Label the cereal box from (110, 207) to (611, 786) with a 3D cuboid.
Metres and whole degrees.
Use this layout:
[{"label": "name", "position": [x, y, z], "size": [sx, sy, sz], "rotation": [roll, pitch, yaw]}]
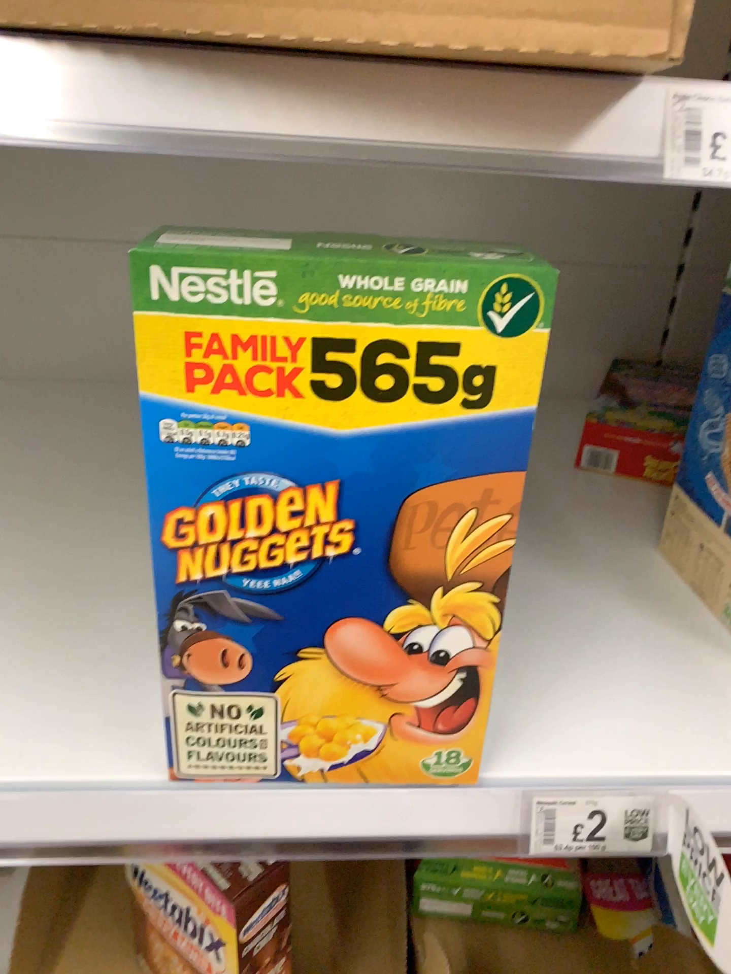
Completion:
[{"label": "cereal box", "position": [-0.011, 0.018, 0.421], "size": [0.210, 0.308, 0.091], "rotation": [2, 26, -4]}]
